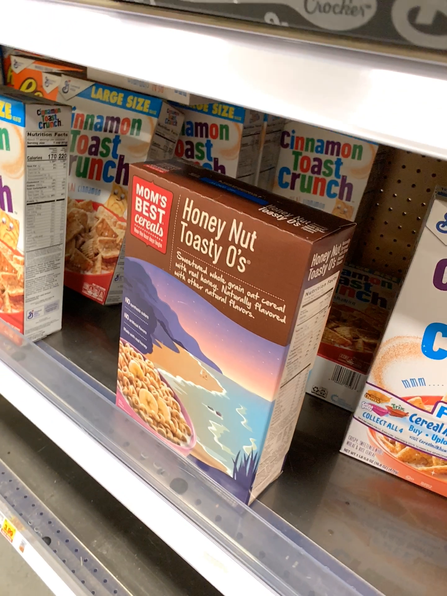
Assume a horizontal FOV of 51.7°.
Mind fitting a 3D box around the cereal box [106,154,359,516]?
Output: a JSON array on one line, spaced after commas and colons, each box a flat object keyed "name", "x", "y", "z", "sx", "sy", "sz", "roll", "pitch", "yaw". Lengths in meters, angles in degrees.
[{"name": "cereal box", "x": -0.017, "y": 0.032, "z": 0.440, "sx": 0.200, "sy": 0.279, "sz": 0.070, "roll": 28, "pitch": 34, "yaw": 30}]
